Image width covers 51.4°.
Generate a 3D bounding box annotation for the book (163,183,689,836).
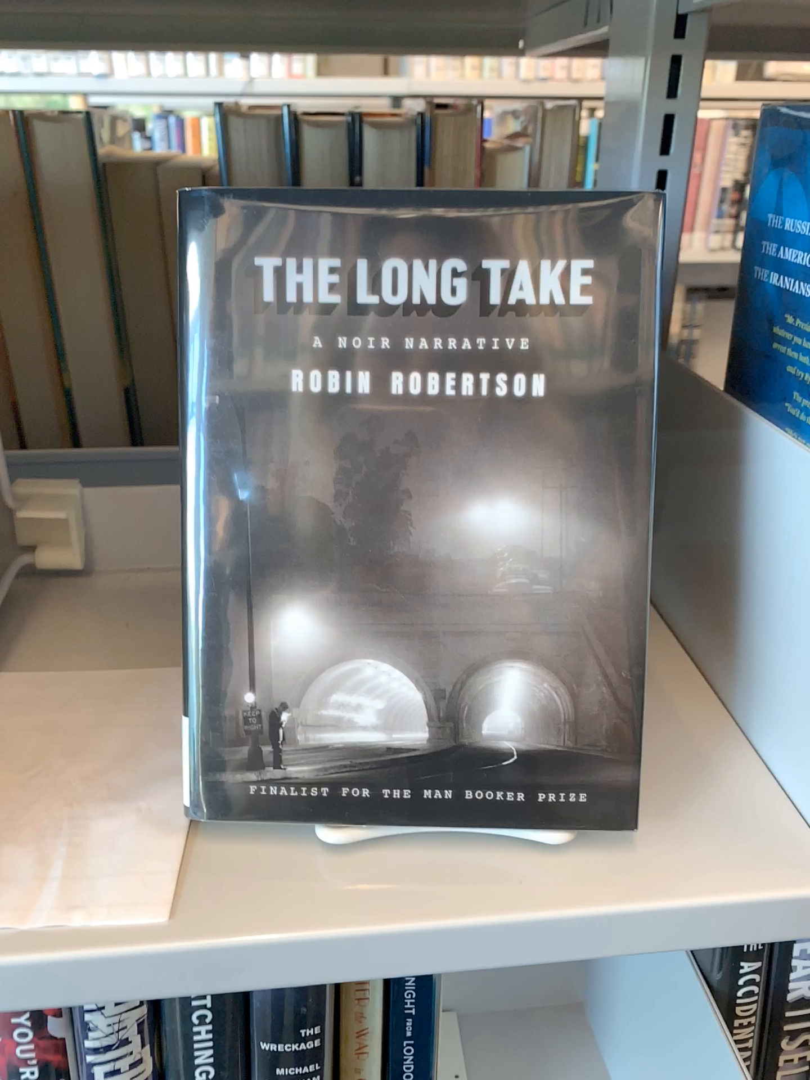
[{"bbox_3d":[0.005,-0.009,0.287,0.160,0.206,0.040,1,6,2],"label":"book"}]
